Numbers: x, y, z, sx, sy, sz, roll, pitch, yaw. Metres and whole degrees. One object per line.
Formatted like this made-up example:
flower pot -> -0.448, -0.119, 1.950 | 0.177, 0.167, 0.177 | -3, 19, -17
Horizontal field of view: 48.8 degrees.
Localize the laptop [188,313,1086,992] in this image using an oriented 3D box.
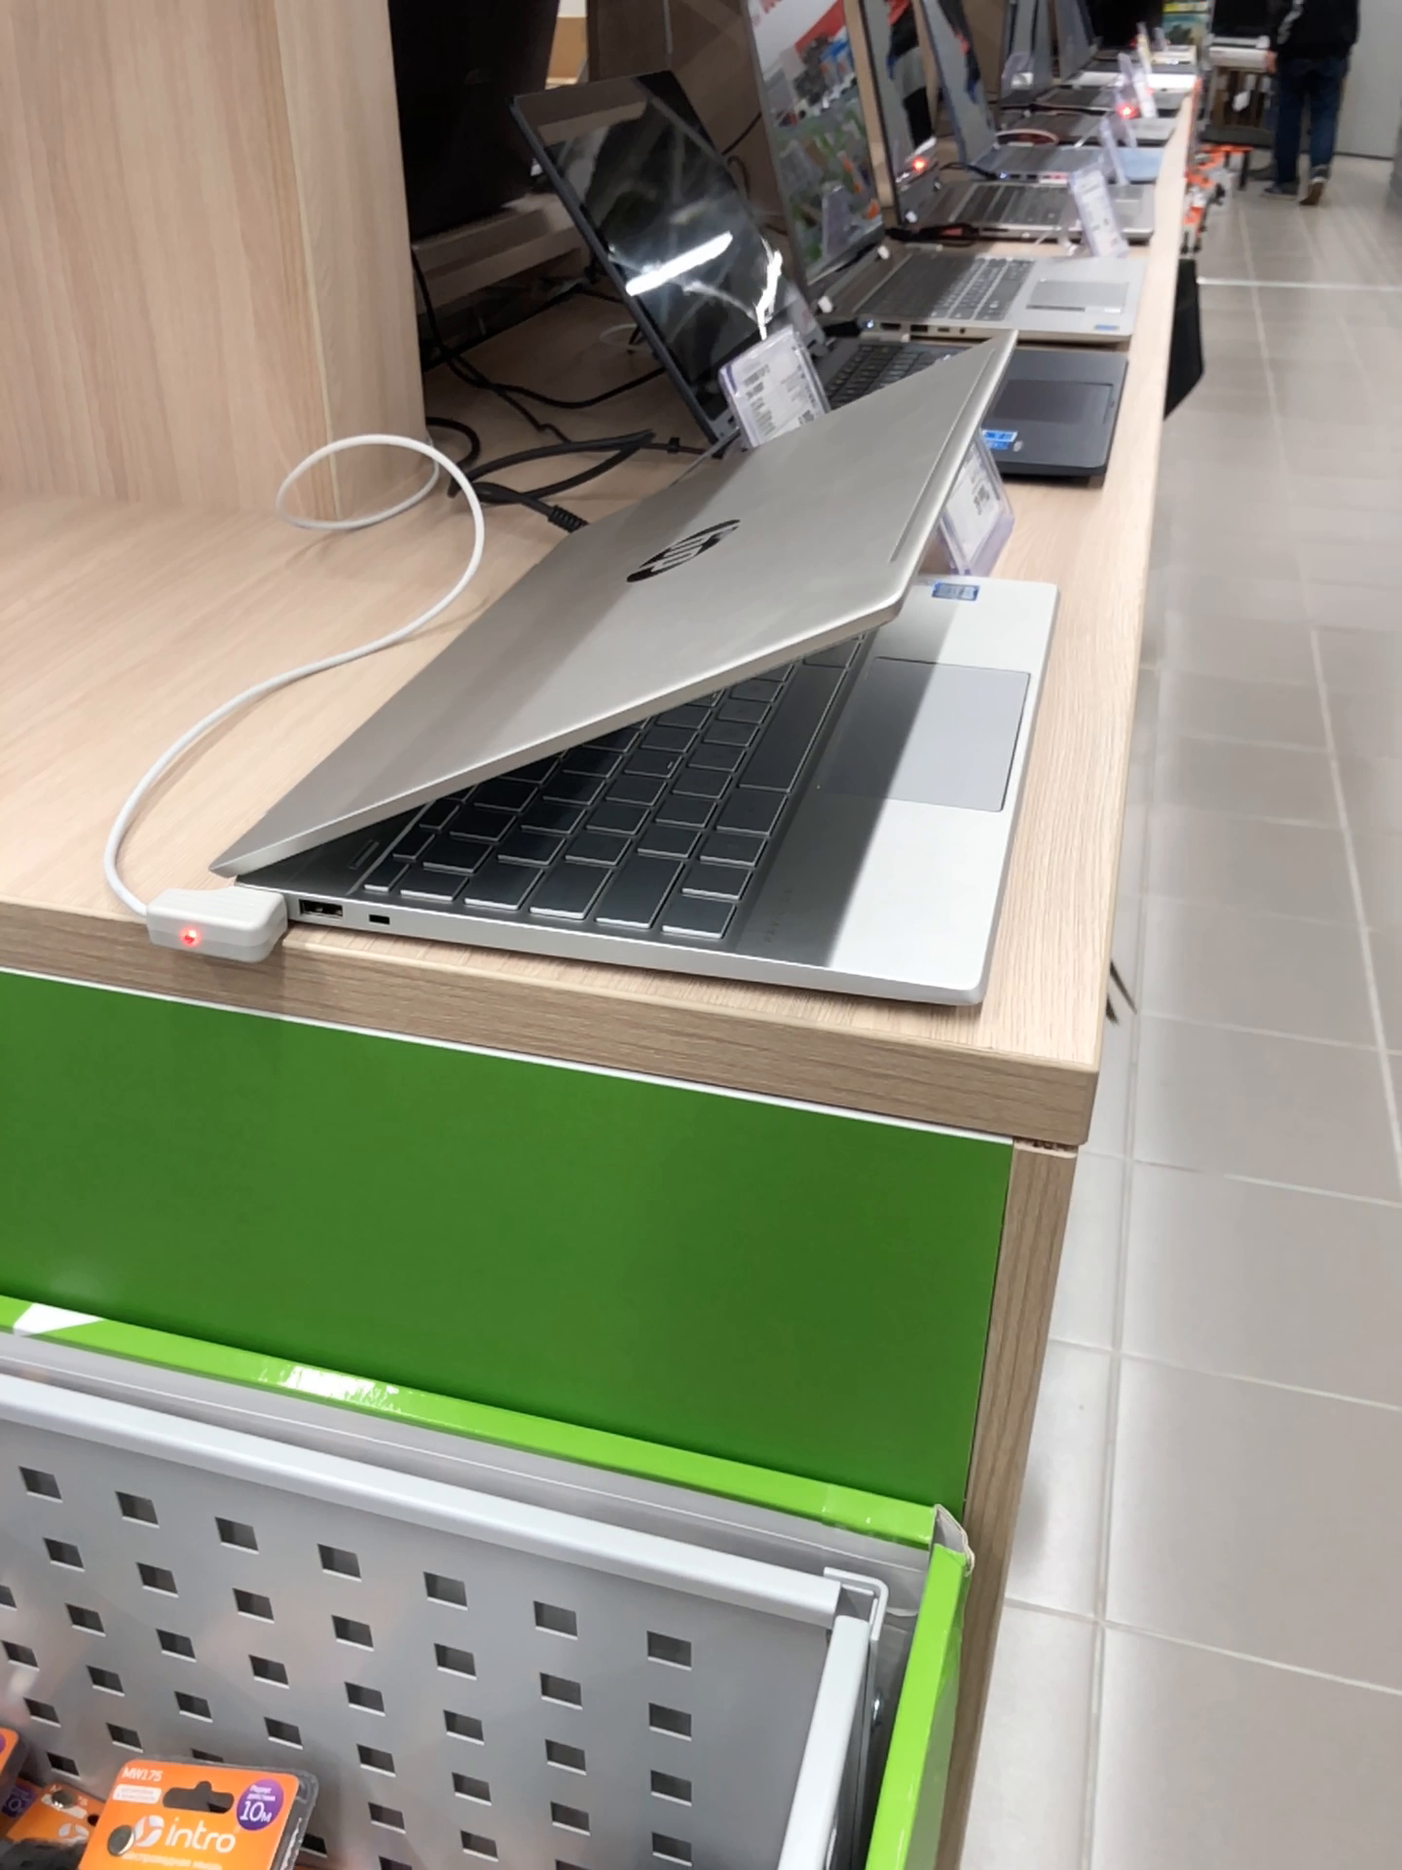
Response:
laptop -> 0.012, -0.125, 0.530 | 0.206, 0.095, 0.323 | 9, 33, 12
